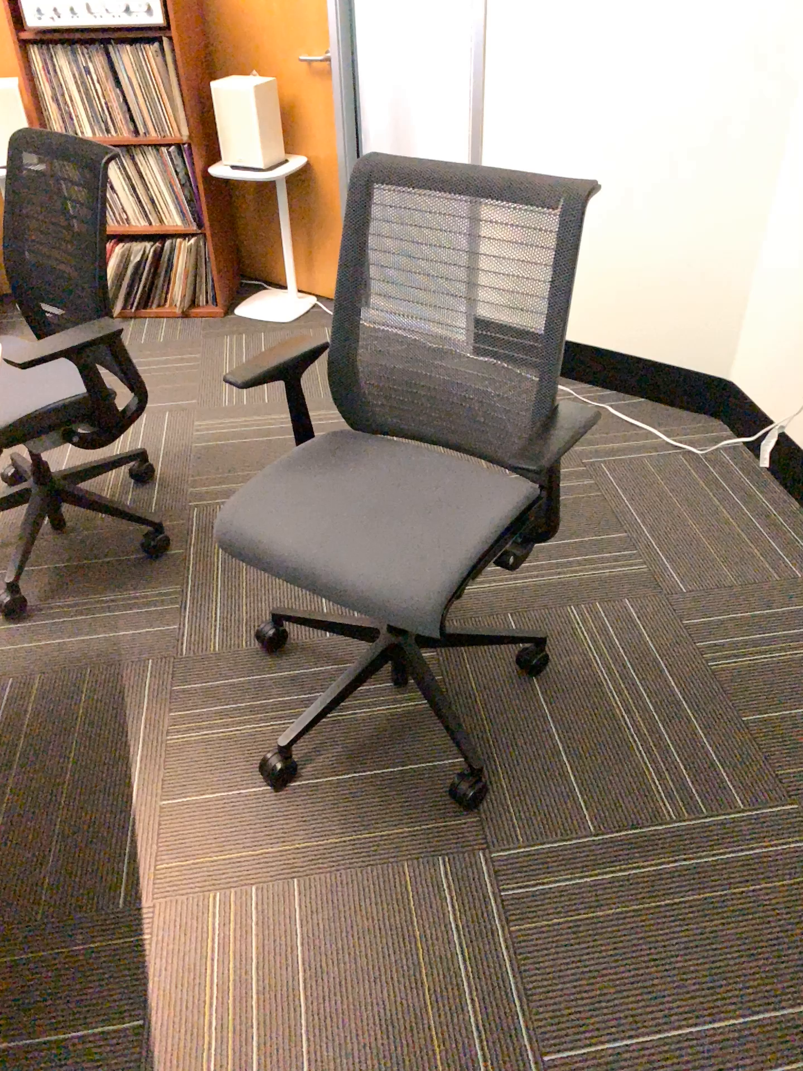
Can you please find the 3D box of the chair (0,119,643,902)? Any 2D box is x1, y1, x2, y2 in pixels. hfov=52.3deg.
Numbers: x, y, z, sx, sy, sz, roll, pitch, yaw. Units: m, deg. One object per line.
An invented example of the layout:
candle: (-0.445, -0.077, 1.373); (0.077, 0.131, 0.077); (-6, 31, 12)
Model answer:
chair: (-0.115, -0.091, 1.607); (0.792, 1.113, 0.803); (17, 42, 23)
